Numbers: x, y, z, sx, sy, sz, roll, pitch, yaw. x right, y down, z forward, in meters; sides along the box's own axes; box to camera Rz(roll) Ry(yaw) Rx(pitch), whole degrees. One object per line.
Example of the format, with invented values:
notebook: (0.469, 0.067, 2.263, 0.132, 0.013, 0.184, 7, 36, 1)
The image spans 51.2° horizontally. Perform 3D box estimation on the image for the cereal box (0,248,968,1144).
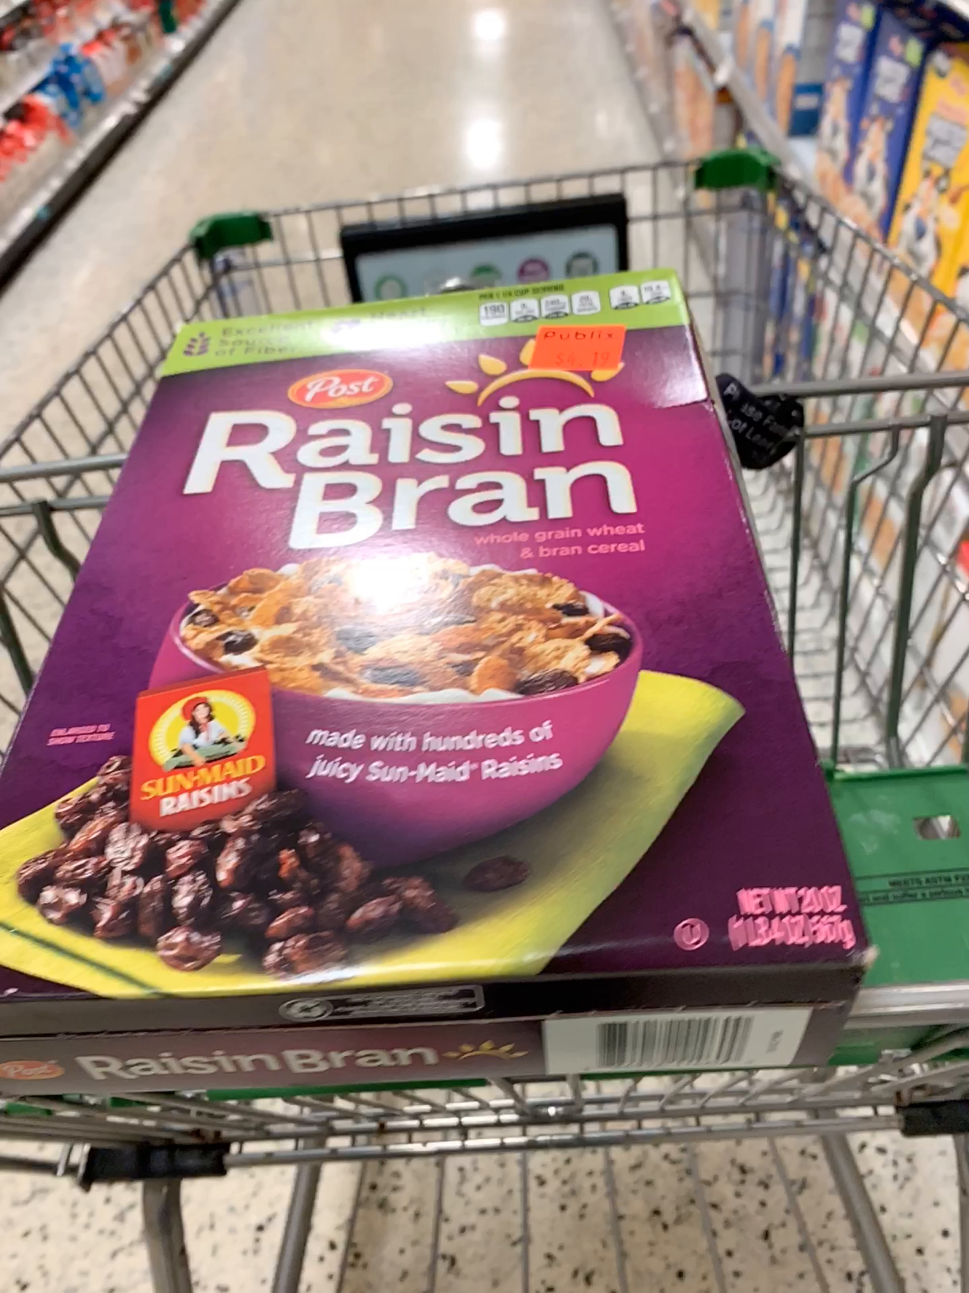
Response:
cereal box: (-0.020, -0.017, 0.300, 0.210, 0.059, 0.283, -4, 45, 4)
